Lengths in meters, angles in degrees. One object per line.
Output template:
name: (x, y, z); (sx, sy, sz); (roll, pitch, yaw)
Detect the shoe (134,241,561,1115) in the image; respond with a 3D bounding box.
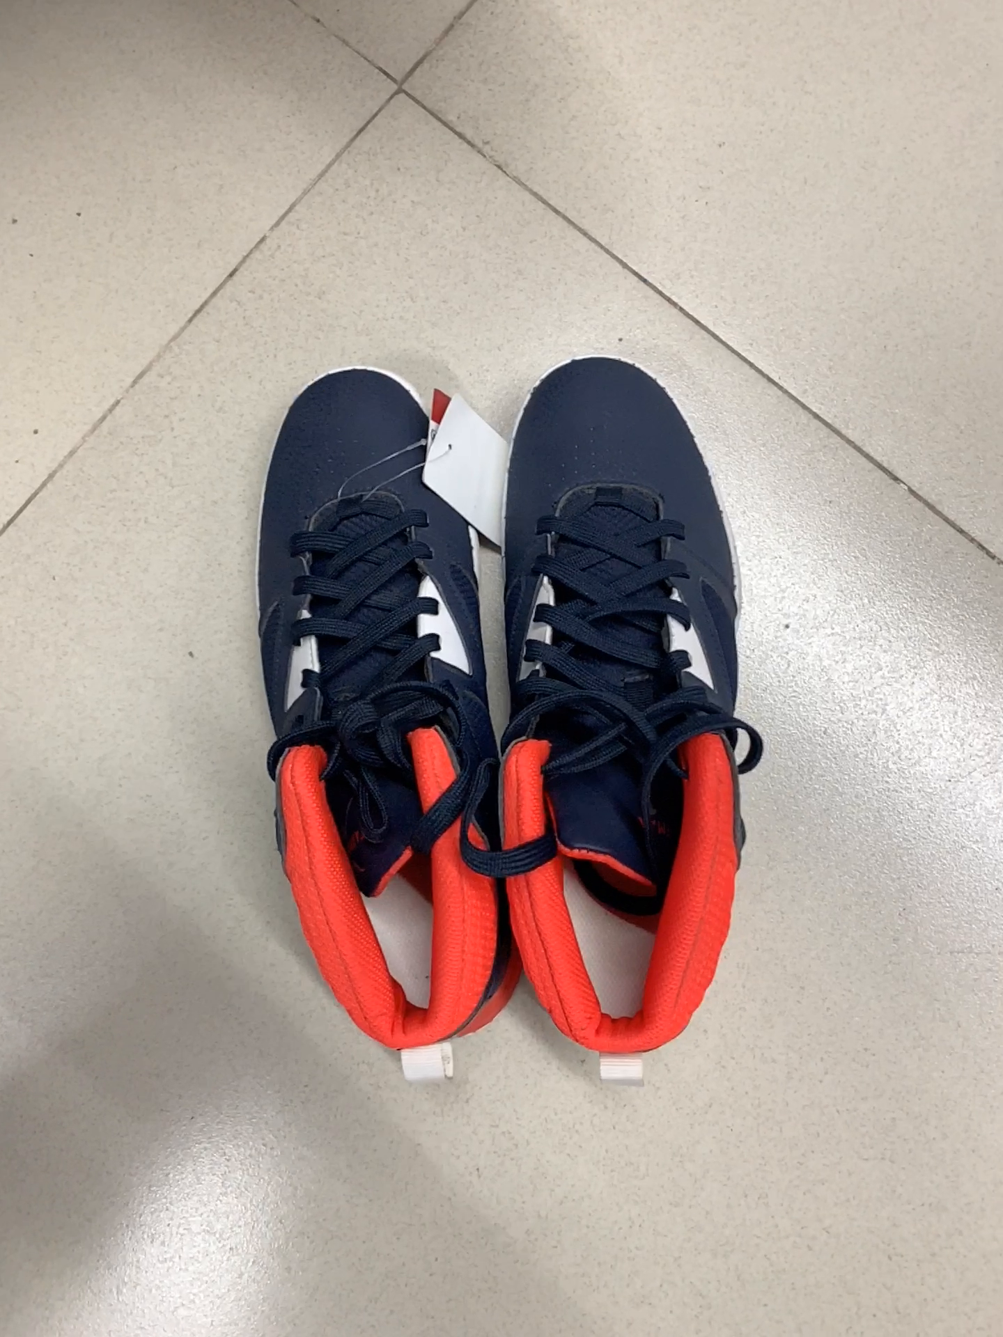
shoe: (-0.055, 0.004, 0.405); (0.110, 0.100, 0.290); (-9, 83, 6)

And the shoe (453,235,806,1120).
shoe: (0.046, 0.004, 0.401); (0.110, 0.120, 0.290); (-1, 84, 6)
